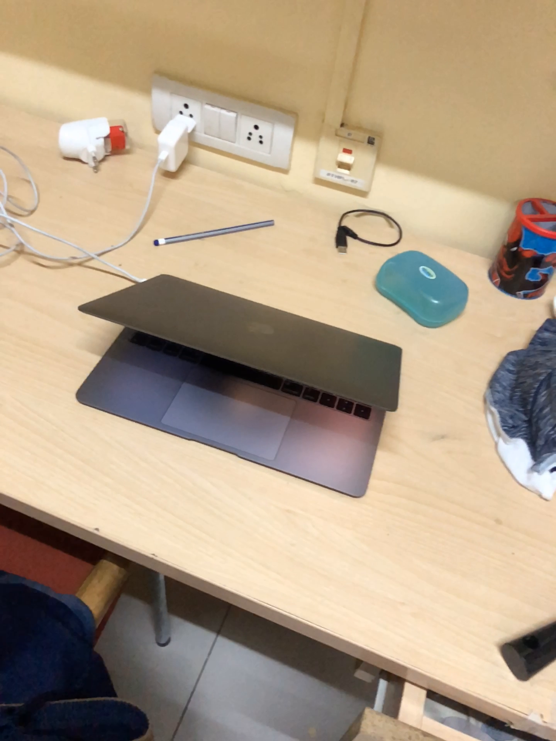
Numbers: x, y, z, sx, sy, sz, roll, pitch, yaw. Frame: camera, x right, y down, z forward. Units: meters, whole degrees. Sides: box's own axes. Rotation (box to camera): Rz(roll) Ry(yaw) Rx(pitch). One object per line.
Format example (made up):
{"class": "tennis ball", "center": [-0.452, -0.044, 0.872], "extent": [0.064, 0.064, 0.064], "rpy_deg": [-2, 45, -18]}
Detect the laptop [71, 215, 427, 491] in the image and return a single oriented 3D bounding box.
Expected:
{"class": "laptop", "center": [-0.021, -0.029, 0.624], "extent": [0.294, 0.094, 0.194], "rpy_deg": [18, 48, 7]}
